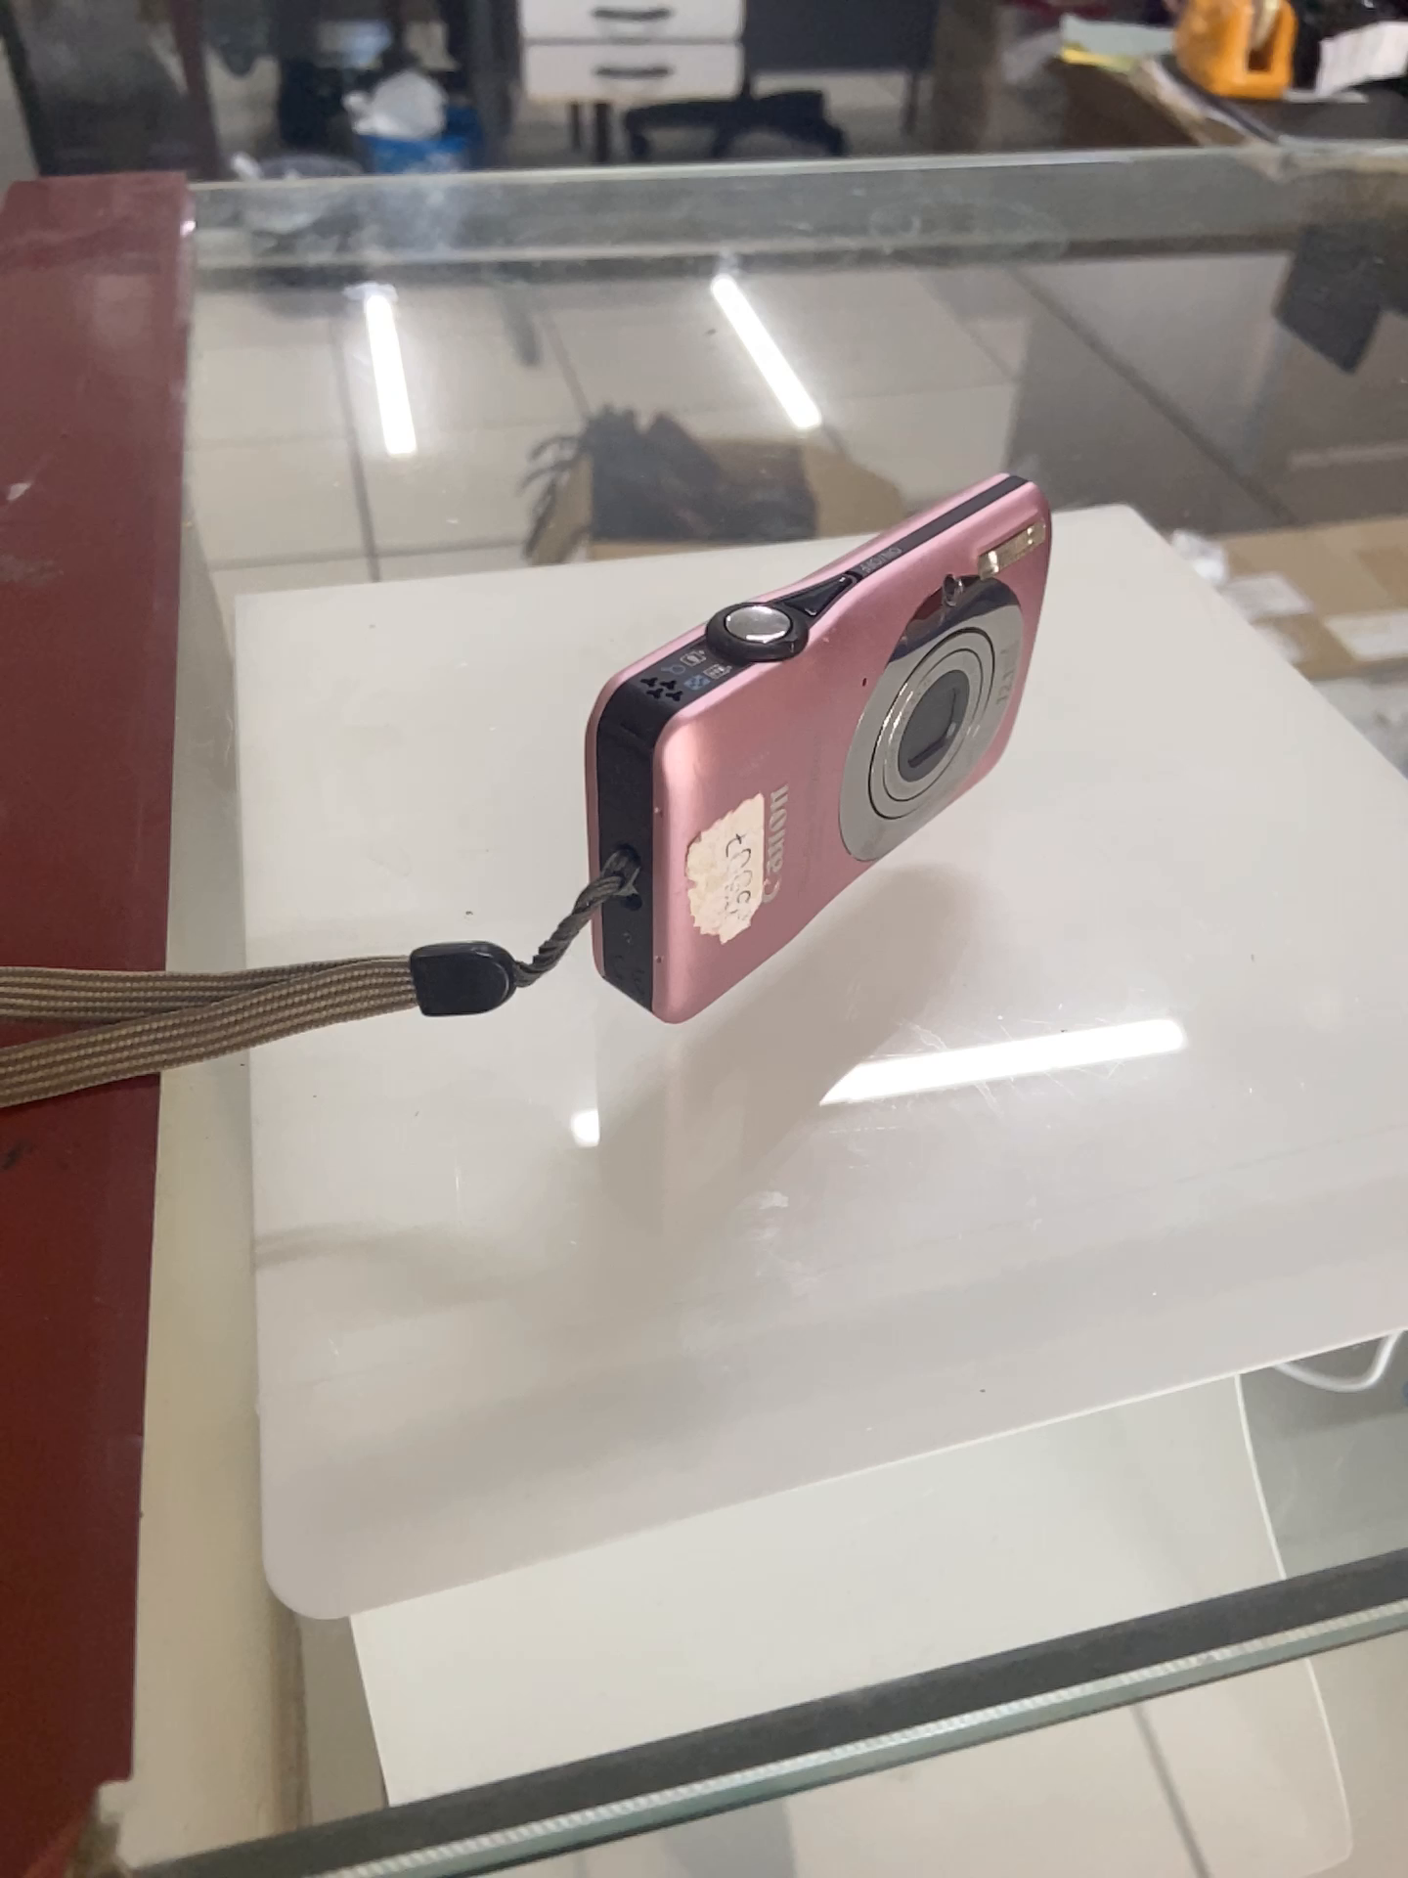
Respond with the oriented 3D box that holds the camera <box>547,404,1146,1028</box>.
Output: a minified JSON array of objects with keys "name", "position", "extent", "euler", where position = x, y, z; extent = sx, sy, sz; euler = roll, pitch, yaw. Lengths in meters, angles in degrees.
[{"name":"camera","position":[0.023,-0.038,0.218],"extent":[0.030,0.050,0.100],"euler":[30,48,27]}]
